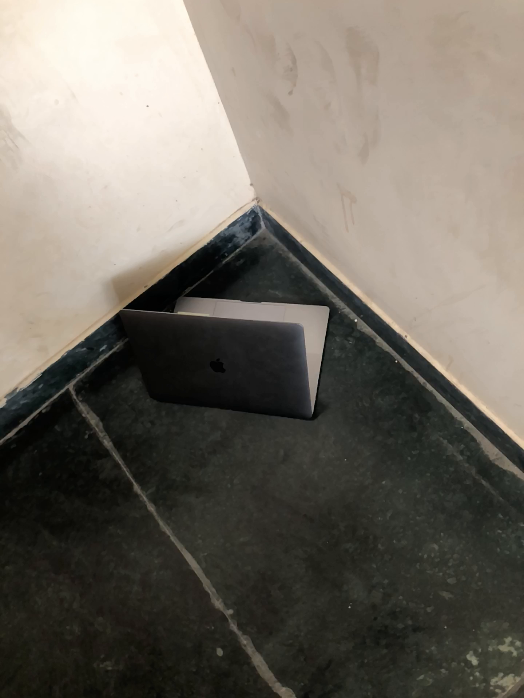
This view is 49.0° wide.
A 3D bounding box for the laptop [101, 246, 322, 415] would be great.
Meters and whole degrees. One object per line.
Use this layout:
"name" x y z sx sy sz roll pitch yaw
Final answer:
"laptop" -0.081 -0.036 1.072 0.329 0.198 0.221 6 69 19
